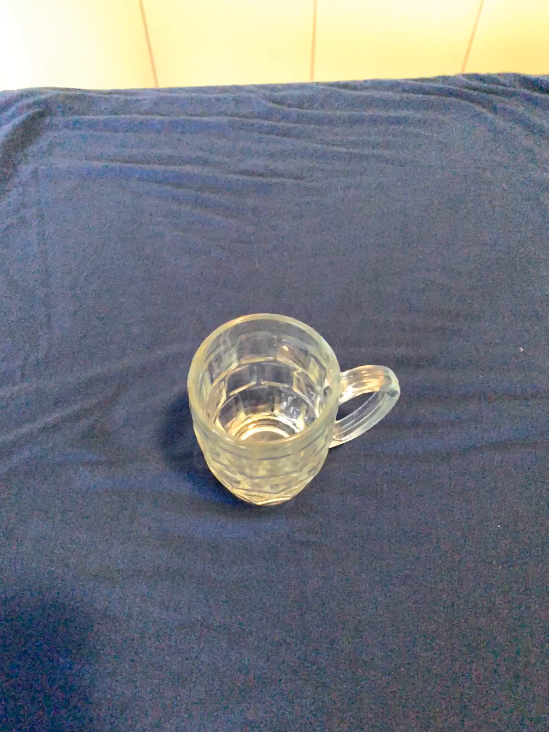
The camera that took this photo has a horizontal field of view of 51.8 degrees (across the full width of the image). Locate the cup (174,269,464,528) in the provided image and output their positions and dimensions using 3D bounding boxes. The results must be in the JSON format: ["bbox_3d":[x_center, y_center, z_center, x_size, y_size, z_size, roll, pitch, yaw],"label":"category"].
[{"bbox_3d":[0.017,0.022,0.311,0.120,0.110,0.080,-9,58,-6],"label":"cup"}]
